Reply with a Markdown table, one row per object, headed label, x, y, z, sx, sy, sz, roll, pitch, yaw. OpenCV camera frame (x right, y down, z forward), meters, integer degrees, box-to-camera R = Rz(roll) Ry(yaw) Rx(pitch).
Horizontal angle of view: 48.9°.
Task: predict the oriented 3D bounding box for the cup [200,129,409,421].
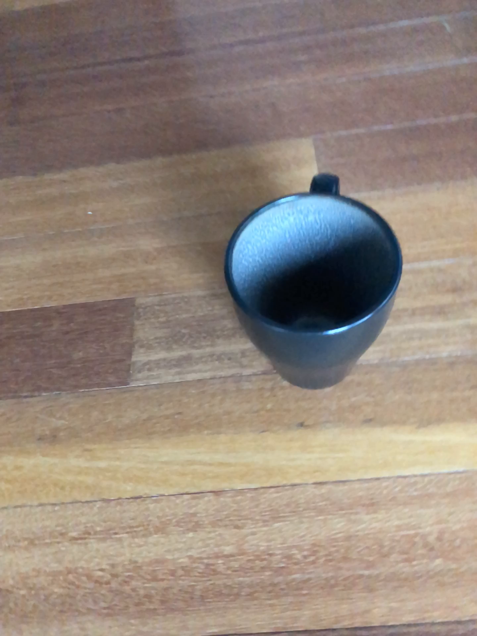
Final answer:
| label | x | y | z | sx | sy | sz | roll | pitch | yaw |
| --- | --- | --- | --- | --- | --- | --- | --- | --- | --- |
| cup | 0.046 | -0.026 | 0.320 | 0.090 | 0.100 | 0.137 | 7 | 61 | 12 |
